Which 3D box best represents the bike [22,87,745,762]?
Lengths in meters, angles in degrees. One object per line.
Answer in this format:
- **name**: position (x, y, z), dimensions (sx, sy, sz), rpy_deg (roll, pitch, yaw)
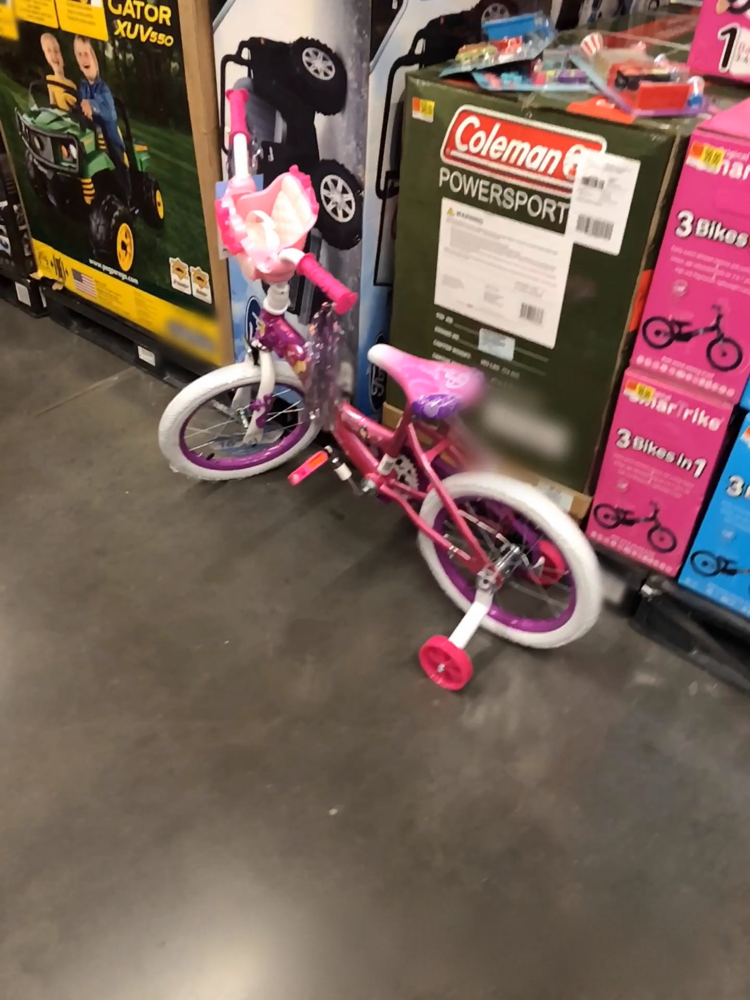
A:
- **bike**: position (-0.006, -0.162, 1.463), dimensions (0.949, 0.854, 0.479), rpy_deg (20, 42, 20)
